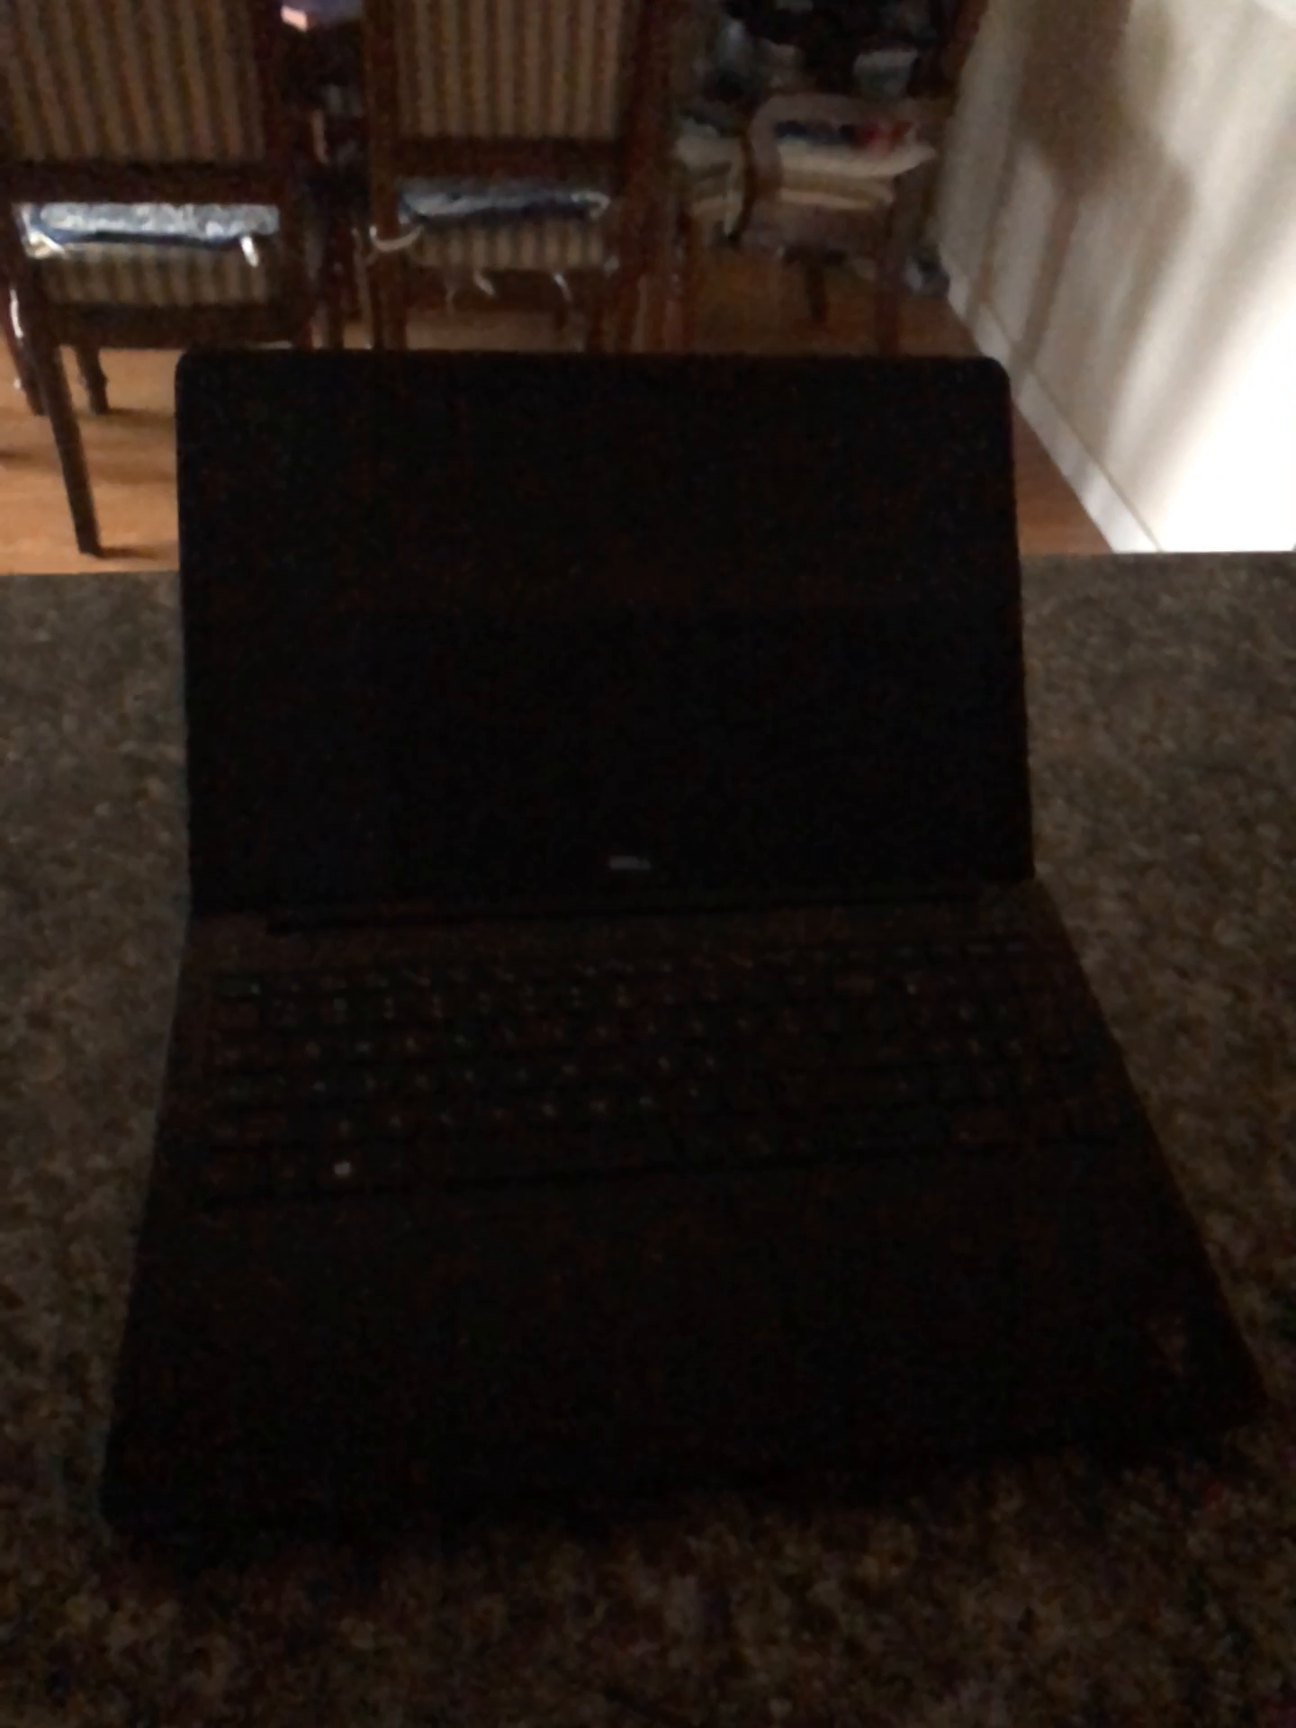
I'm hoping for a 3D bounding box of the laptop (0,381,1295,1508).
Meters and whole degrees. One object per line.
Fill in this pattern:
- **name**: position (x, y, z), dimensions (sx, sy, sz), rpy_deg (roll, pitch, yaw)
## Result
- **laptop**: position (0.003, -0.015, 0.544), dimensions (0.361, 0.158, 0.416), rpy_deg (-2, 44, -8)
